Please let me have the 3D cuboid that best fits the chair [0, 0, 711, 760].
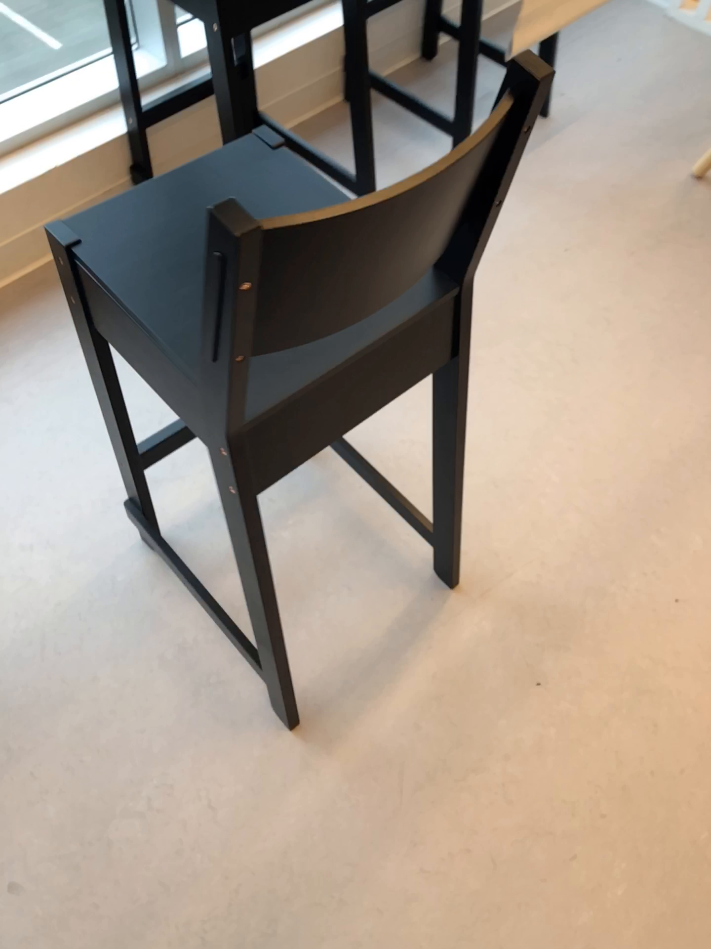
[{"bbox_3d":[-0.117,-0.147,1.075,0.551,0.995,0.582,-36,65,-24],"label":"chair"}]
